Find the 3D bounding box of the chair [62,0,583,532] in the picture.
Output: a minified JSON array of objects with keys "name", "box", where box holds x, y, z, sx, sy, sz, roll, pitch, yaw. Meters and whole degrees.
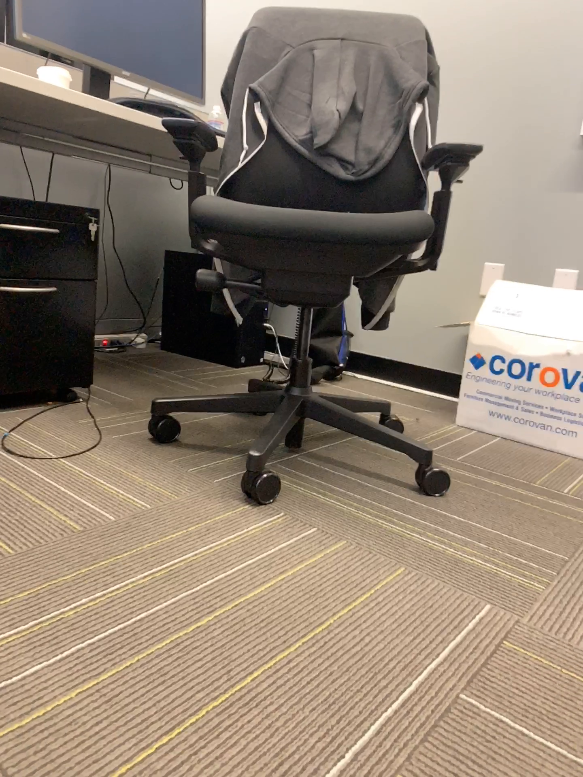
[{"name":"chair","box":[0.046,-0.410,1.390,0.750,1.076,0.883,7,12,3]}]
